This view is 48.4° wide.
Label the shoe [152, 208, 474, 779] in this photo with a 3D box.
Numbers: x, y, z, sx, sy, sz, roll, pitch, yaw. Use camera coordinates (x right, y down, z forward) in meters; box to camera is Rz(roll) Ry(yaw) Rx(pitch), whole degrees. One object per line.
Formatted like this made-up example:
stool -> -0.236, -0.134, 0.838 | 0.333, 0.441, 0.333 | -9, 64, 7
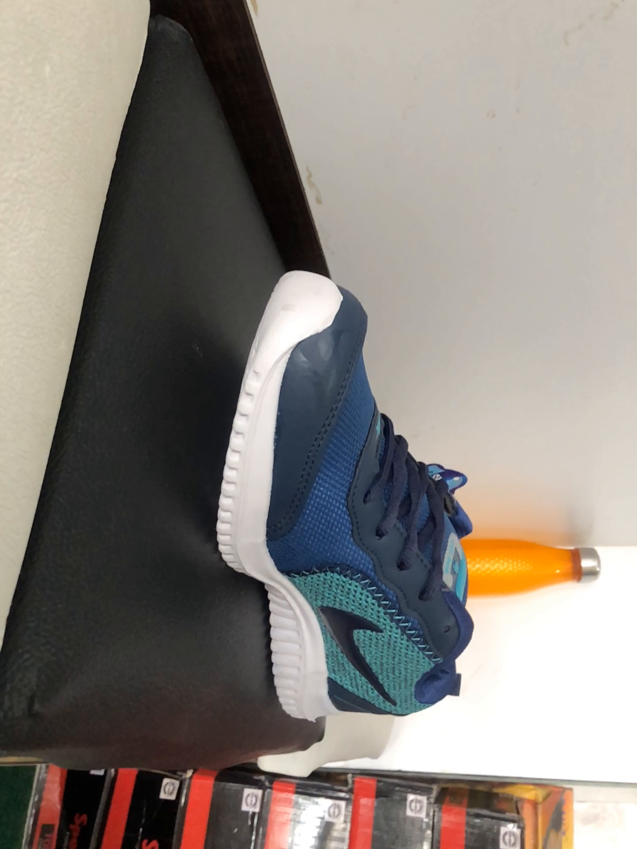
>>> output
shoe -> 0.022, 0.046, 0.357 | 0.130, 0.100, 0.261 | -78, 161, -52
